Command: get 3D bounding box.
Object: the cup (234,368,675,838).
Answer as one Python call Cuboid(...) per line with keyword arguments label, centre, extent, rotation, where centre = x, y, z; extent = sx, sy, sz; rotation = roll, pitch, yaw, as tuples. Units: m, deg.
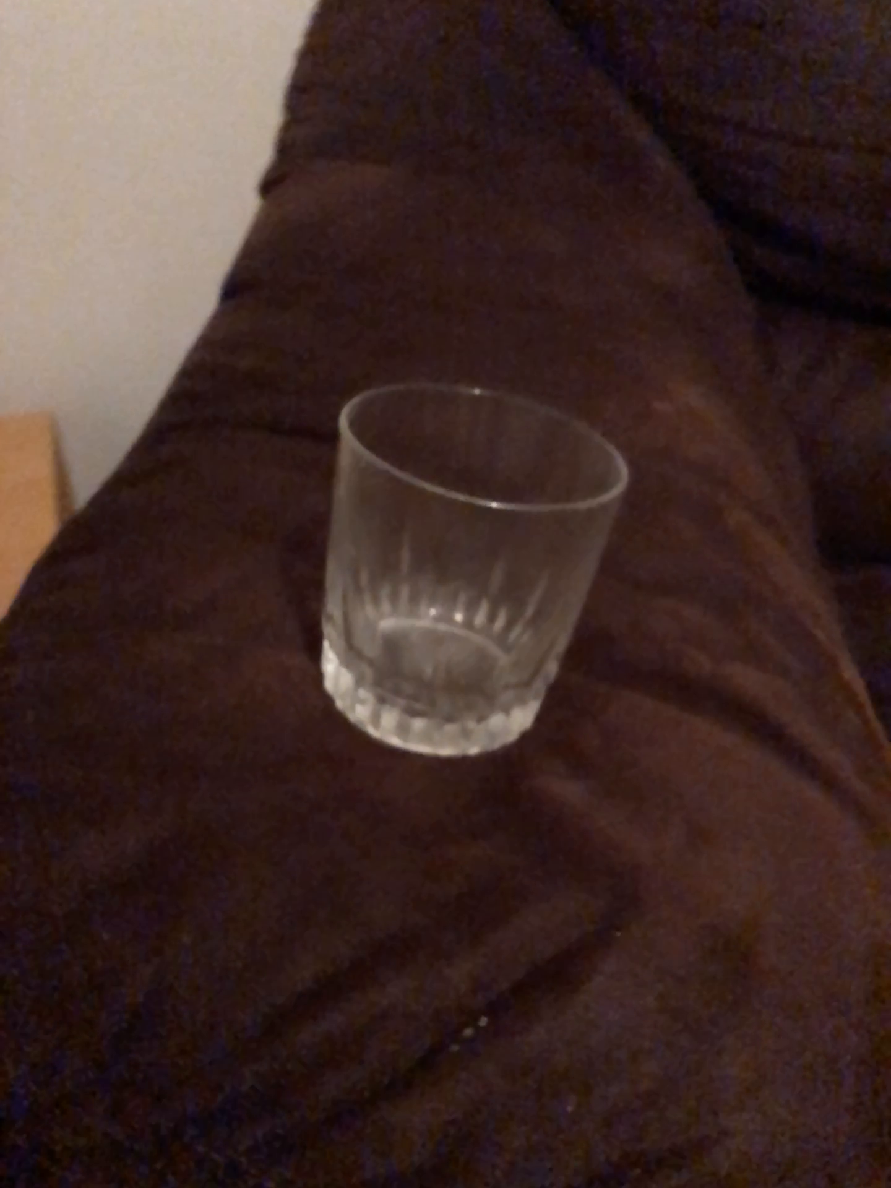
Cuboid(label="cup", centre=(0.003, -0.004, 0.292), extent=(0.086, 0.086, 0.087), rotation=(9, 28, -5))
